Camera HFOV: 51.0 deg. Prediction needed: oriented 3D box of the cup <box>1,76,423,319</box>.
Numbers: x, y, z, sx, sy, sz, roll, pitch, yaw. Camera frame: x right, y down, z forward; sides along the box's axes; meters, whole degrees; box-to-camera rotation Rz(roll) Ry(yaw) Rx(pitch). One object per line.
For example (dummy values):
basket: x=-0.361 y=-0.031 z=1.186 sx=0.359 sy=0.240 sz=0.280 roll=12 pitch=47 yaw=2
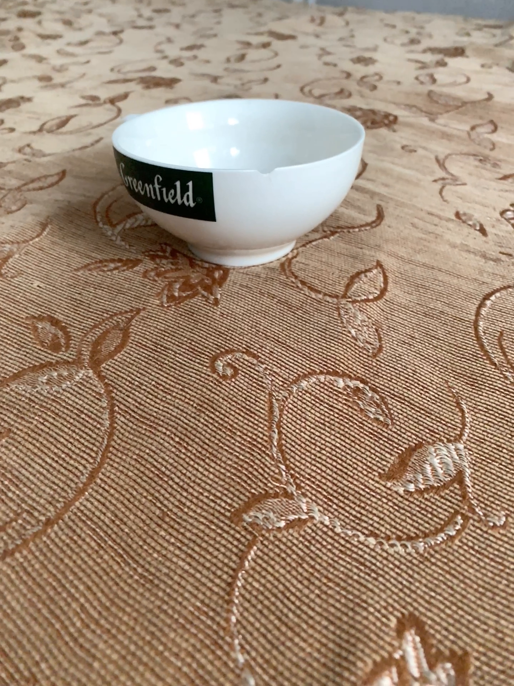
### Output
cup: x=-0.019 y=-0.077 z=0.239 sx=0.140 sy=0.040 sz=0.111 roll=26 pitch=43 yaw=28
